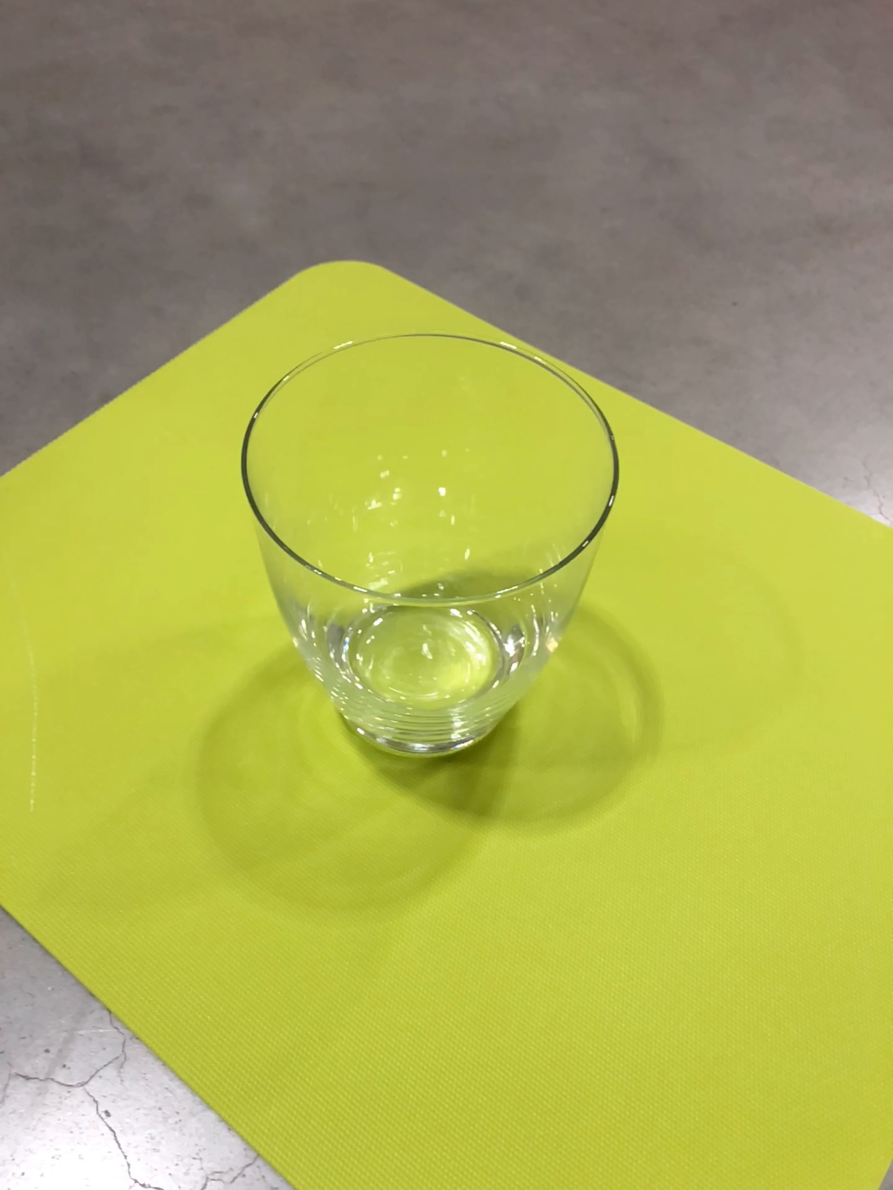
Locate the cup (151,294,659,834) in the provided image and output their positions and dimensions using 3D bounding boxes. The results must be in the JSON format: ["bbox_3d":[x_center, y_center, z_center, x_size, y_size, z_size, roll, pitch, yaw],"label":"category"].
[{"bbox_3d":[-0.005,-0.010,0.293,0.110,0.090,0.110,1,53,-1],"label":"cup"}]
